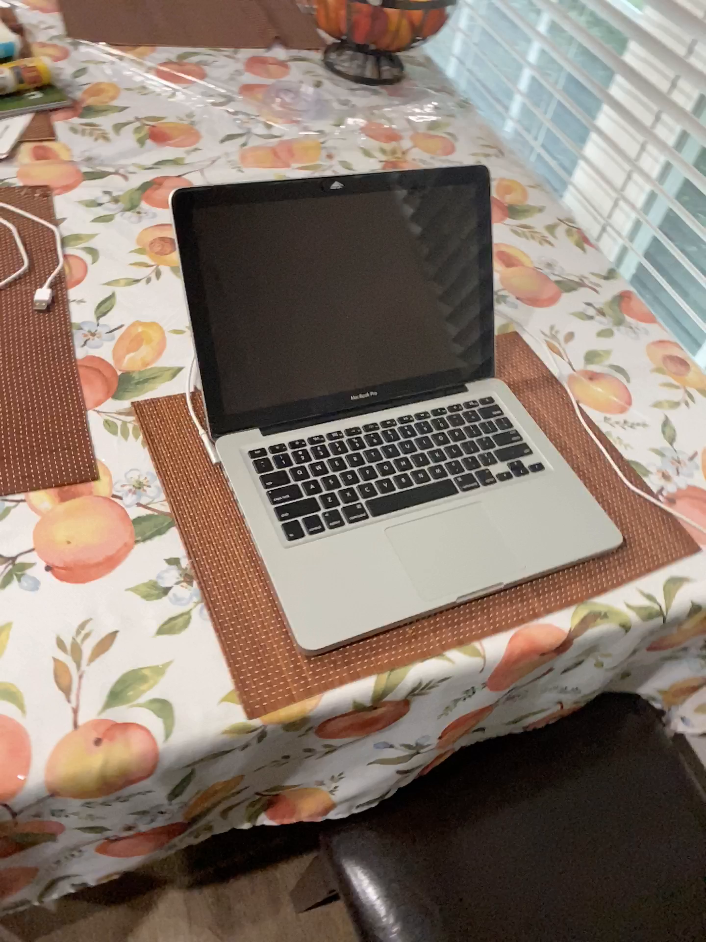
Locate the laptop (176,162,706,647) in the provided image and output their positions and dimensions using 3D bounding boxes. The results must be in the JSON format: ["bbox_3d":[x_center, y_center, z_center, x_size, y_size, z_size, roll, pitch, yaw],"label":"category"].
[{"bbox_3d":[0.053,-0.088,0.629,0.318,0.162,0.349,-15,56,-22],"label":"laptop"}]
